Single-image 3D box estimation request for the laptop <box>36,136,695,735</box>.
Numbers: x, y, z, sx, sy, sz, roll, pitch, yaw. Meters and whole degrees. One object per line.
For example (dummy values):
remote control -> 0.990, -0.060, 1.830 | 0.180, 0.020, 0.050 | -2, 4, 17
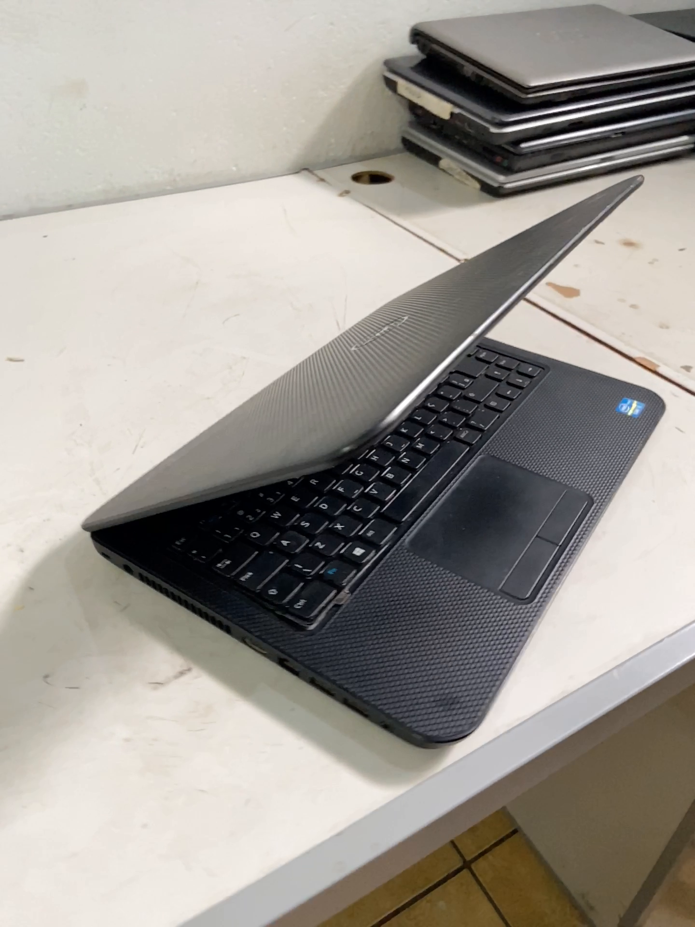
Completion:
laptop -> 0.046, -0.064, 0.425 | 0.230, 0.141, 0.332 | 23, 44, 26
